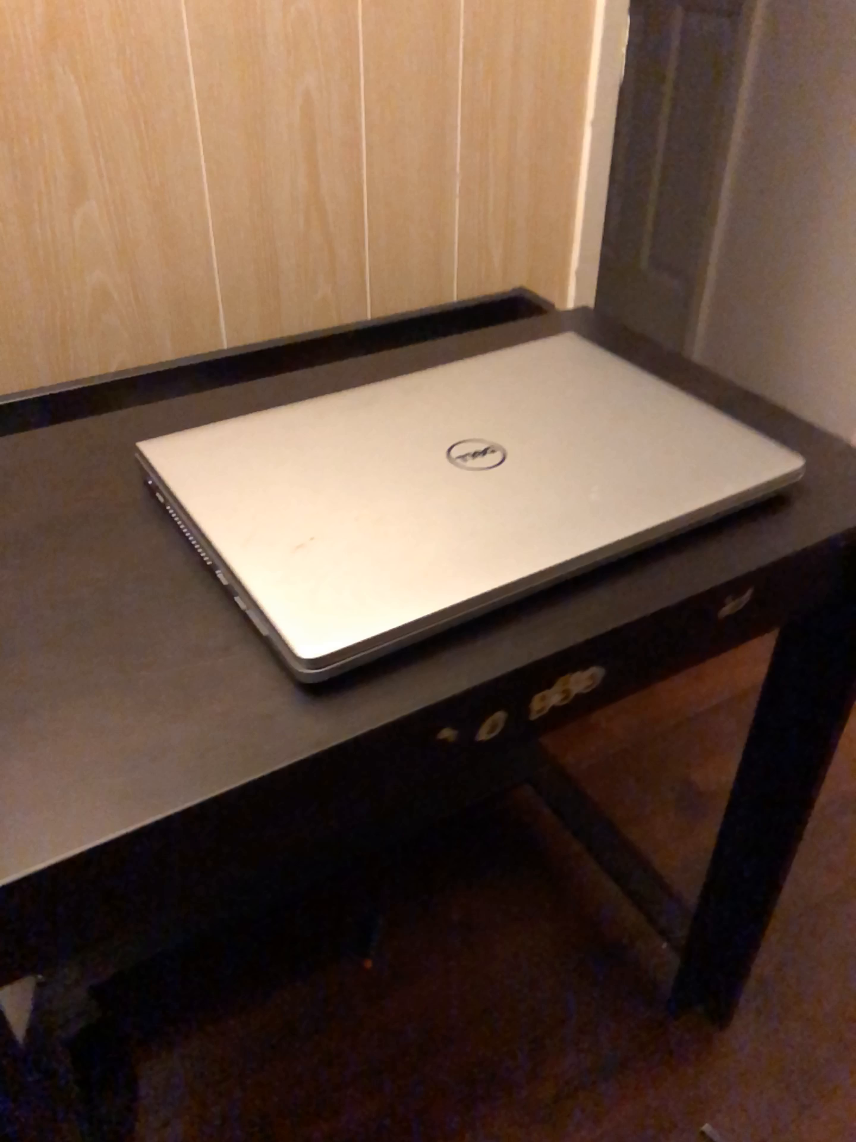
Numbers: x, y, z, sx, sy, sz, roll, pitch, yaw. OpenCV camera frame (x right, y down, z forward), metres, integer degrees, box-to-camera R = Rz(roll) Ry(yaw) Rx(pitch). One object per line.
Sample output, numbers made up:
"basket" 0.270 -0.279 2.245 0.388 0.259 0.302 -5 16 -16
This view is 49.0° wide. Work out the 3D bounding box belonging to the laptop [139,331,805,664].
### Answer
"laptop" 0.028 -0.078 0.633 0.371 0.003 0.250 -21 42 -25
